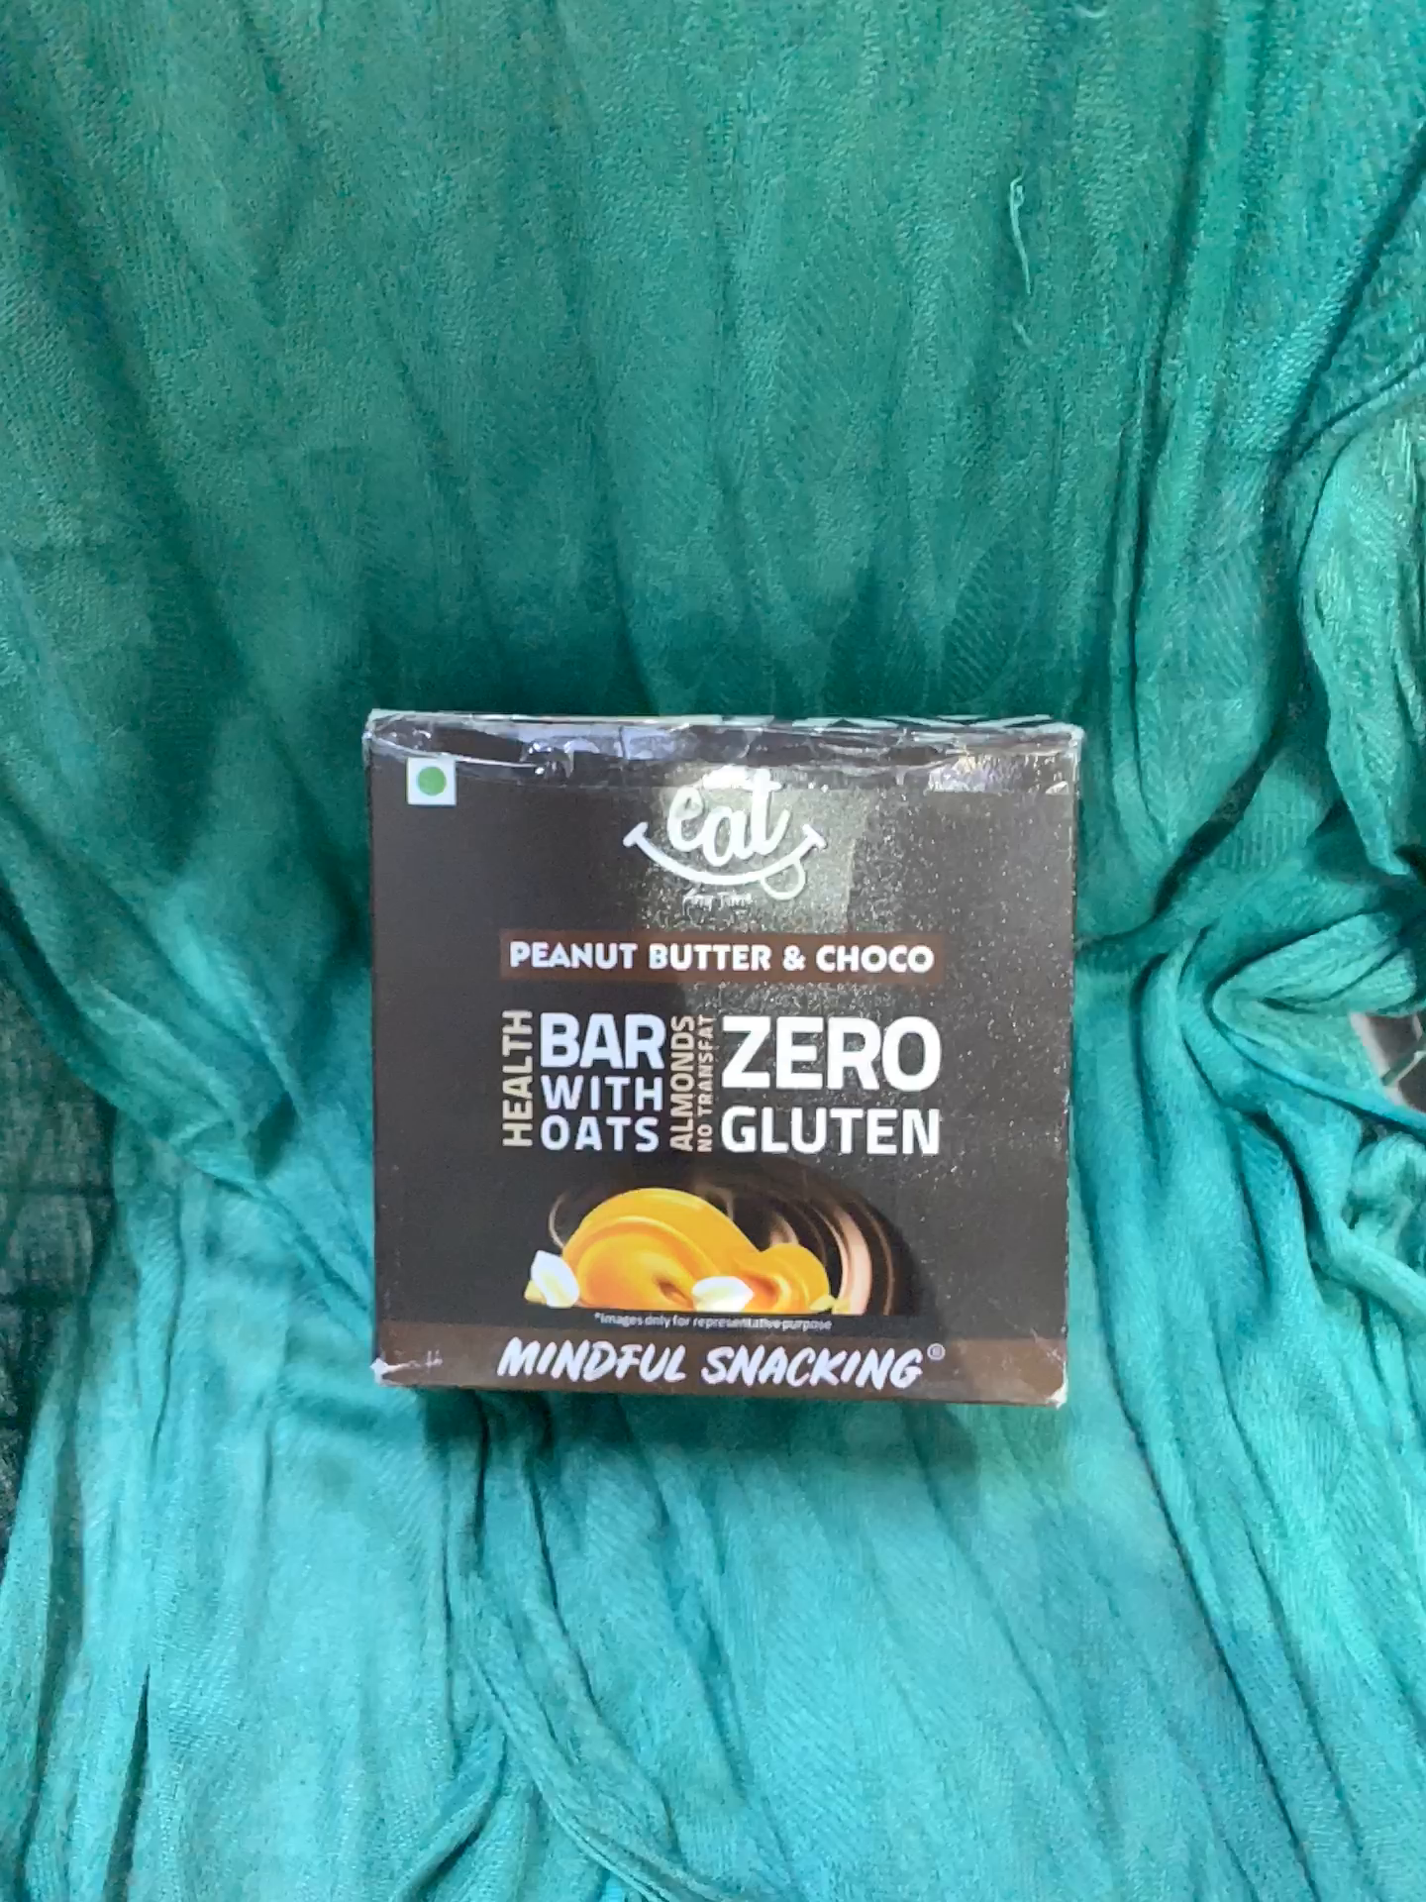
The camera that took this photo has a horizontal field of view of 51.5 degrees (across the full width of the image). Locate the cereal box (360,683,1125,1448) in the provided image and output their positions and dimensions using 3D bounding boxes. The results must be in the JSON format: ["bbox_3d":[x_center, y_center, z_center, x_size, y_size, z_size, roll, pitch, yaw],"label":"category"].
[{"bbox_3d":[0.006,0.019,0.319,0.140,0.090,0.140,1,92,2],"label":"cereal box"}]
